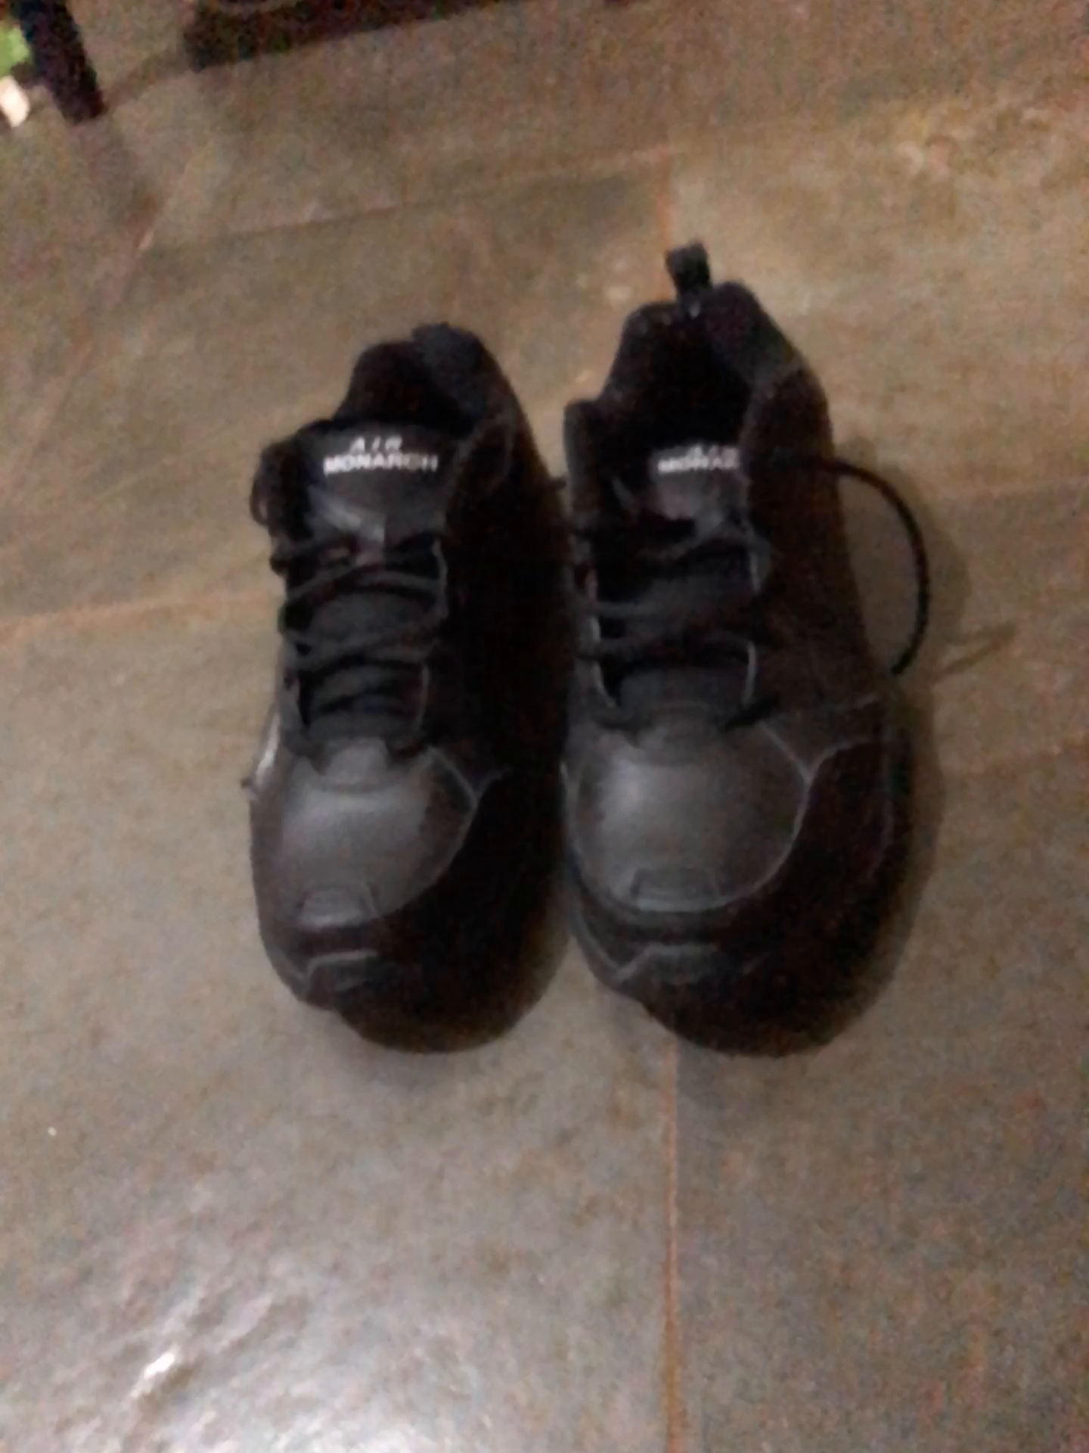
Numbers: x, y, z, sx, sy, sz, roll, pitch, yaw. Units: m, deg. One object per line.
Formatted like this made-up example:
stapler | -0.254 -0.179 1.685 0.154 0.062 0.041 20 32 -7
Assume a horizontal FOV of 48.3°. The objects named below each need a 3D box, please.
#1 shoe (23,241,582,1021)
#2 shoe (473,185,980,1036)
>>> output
shoe | -0.062 -0.048 0.448 0.120 0.109 0.282 -5 48 11
shoe | 0.065 -0.056 0.427 0.120 0.109 0.302 -4 49 12
